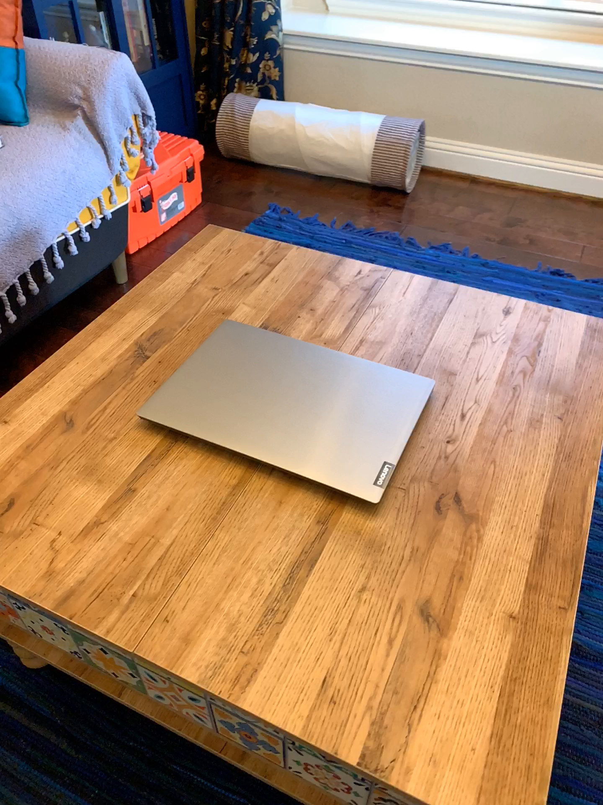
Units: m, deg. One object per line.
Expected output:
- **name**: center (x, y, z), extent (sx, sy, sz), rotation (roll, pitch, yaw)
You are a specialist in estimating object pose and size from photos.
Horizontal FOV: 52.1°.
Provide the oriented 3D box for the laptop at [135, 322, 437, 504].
- **laptop**: center (-0.016, -0.005, 0.855), extent (0.347, 0.011, 0.238), rotation (17, 44, 19)
